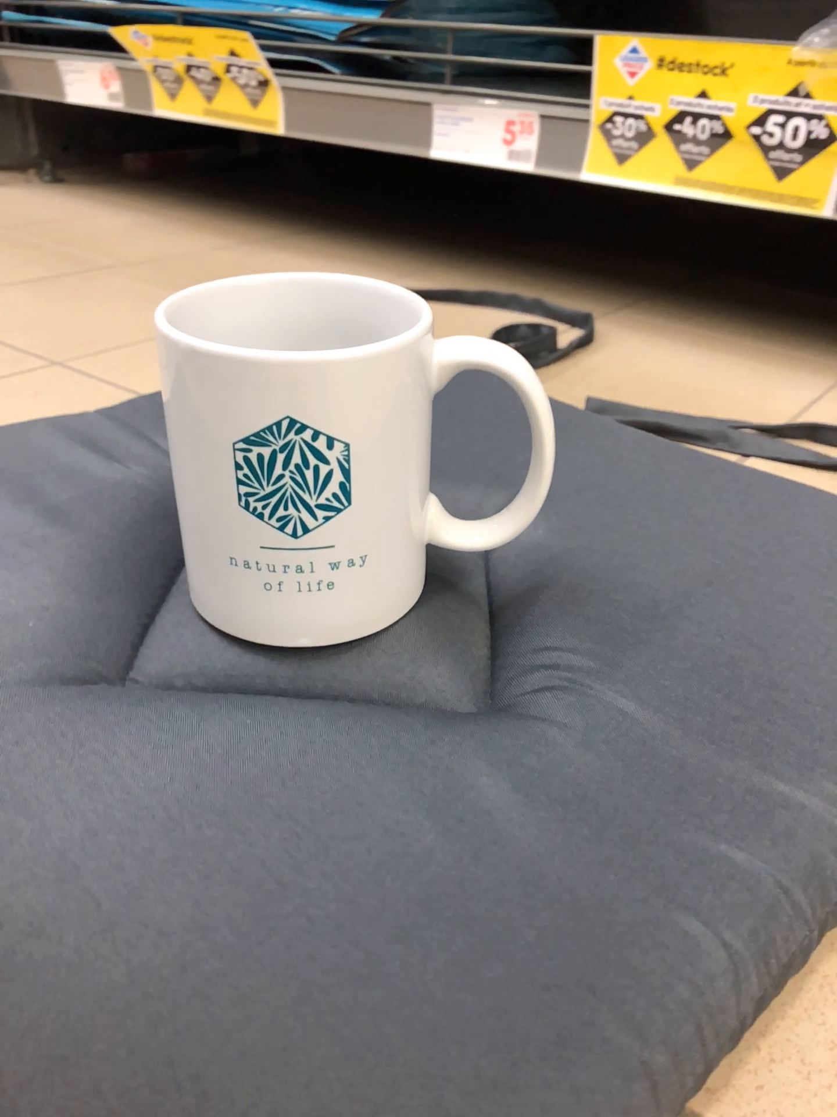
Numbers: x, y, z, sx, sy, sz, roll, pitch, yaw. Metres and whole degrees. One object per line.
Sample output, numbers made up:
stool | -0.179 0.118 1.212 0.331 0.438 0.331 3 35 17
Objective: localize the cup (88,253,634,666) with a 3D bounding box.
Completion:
cup | -0.015 -0.034 0.282 0.130 0.089 0.091 3 29 -1
